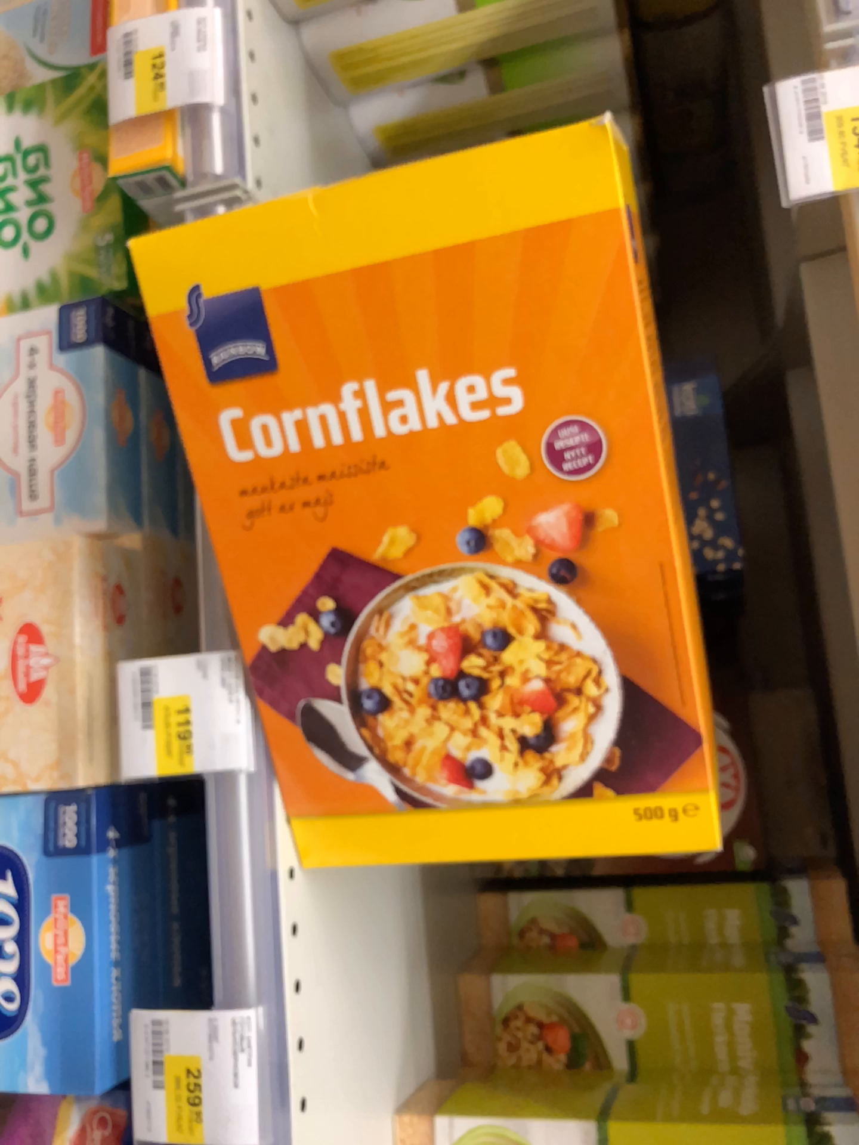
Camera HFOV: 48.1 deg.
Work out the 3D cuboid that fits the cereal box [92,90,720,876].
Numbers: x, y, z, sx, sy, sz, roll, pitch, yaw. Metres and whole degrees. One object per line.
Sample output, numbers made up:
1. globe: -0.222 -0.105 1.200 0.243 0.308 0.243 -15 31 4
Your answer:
1. cereal box: 0.009 -0.027 0.436 0.120 0.199 0.290 -51 132 -67
